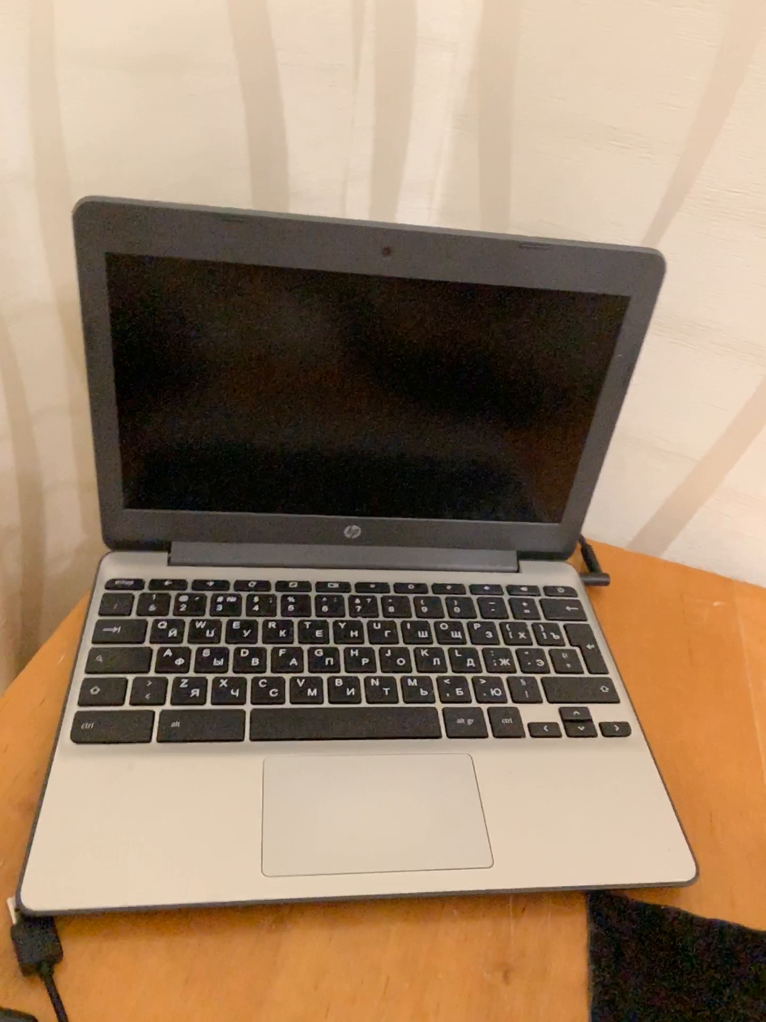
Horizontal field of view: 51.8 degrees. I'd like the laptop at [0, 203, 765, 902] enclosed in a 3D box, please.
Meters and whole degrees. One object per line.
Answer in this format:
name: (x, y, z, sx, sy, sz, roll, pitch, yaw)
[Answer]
laptop: (0.003, 0.011, 0.338, 0.271, 0.187, 0.207, 2, 38, -9)
